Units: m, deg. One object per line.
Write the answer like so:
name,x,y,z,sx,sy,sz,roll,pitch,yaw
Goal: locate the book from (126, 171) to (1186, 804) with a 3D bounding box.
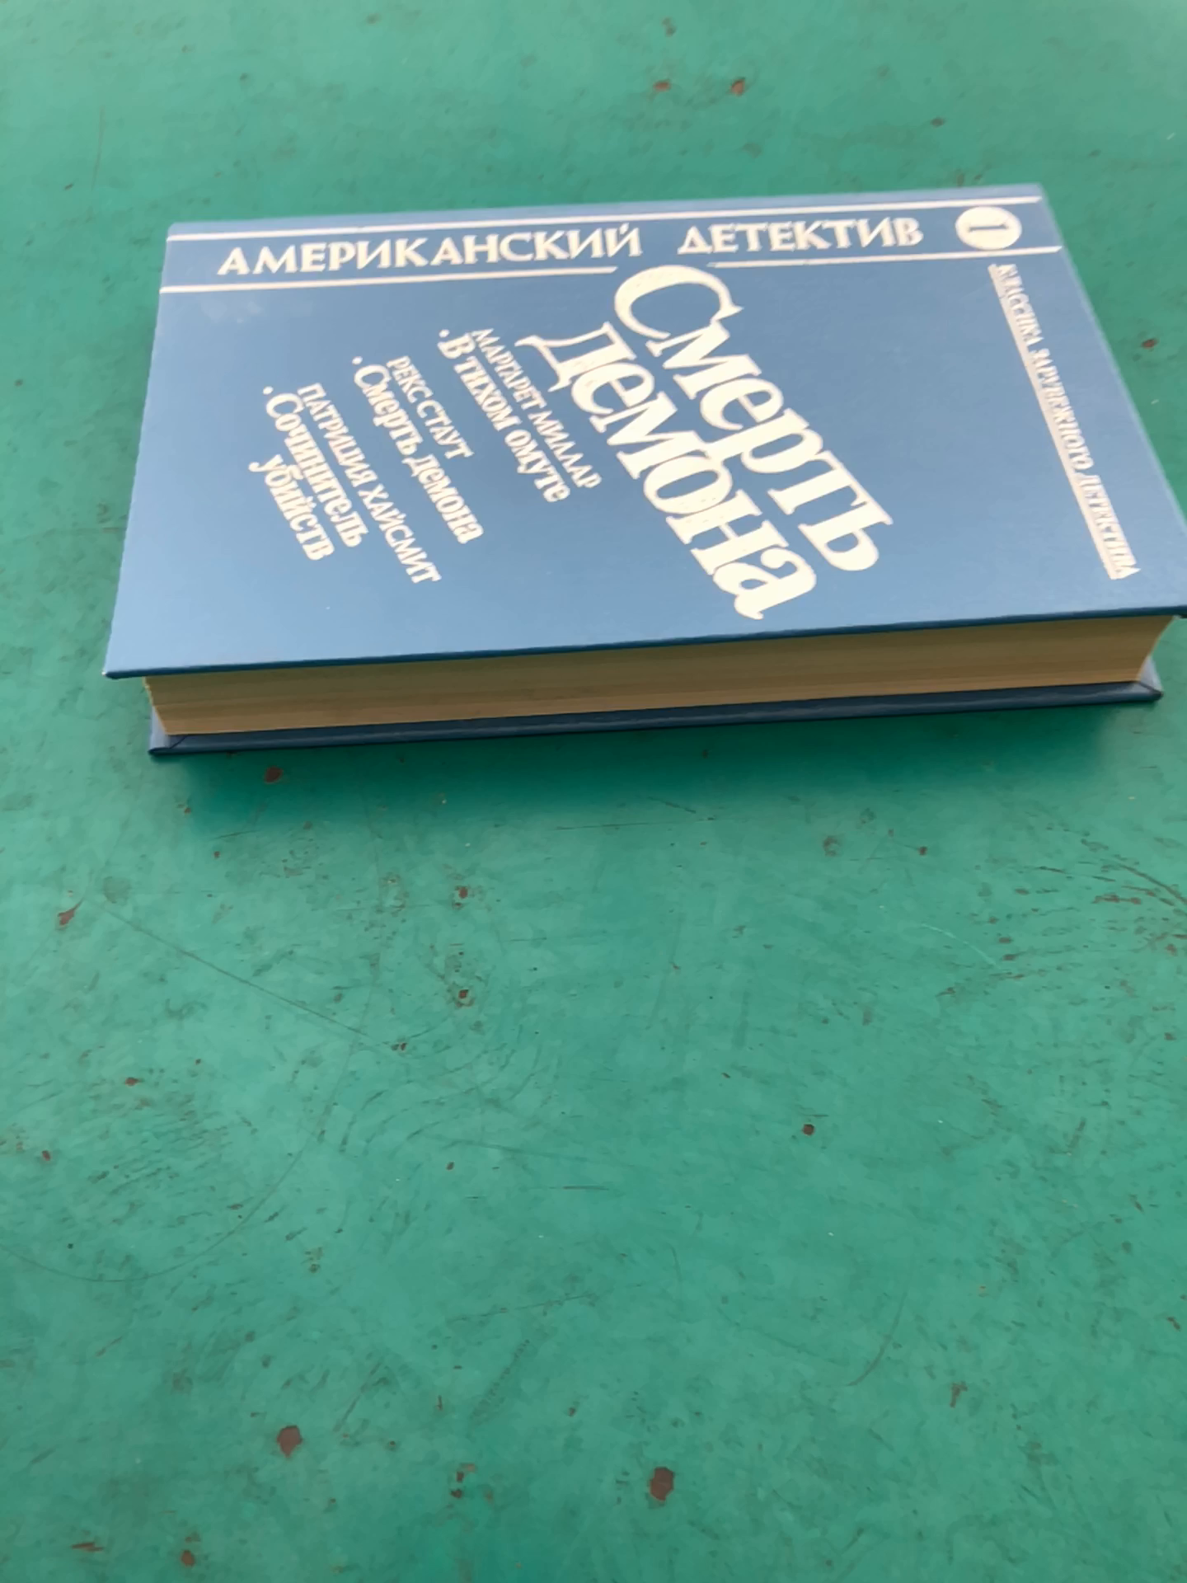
book,0.021,-0.072,0.282,0.212,0.034,0.142,-3,58,-3
